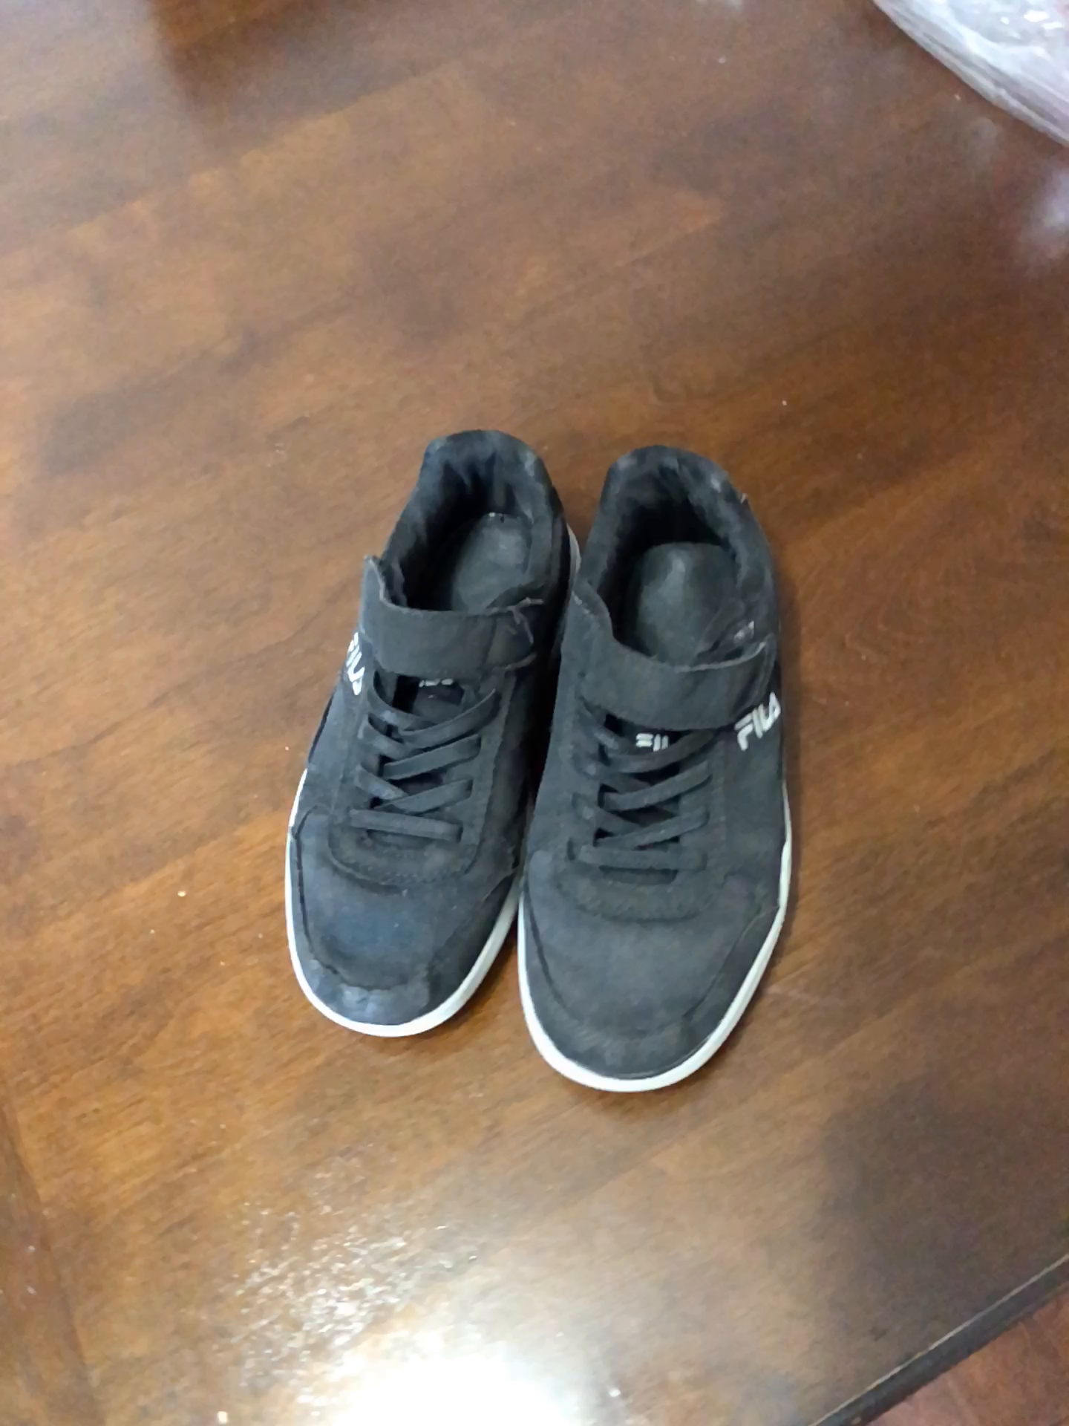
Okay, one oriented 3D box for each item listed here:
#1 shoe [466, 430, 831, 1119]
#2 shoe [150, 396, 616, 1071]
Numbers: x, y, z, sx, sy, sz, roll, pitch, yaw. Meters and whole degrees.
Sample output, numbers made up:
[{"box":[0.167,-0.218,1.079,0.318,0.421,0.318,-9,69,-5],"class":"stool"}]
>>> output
[{"box":[0.046,0.014,0.398,0.090,0.080,0.210,4,62,10],"class":"shoe"},{"box":[-0.038,0.001,0.410,0.090,0.080,0.210,8,62,12],"class":"shoe"}]
